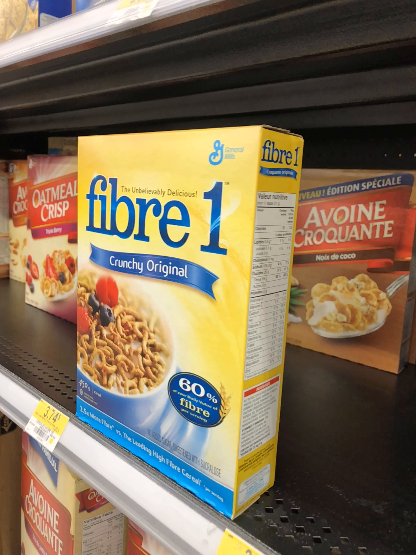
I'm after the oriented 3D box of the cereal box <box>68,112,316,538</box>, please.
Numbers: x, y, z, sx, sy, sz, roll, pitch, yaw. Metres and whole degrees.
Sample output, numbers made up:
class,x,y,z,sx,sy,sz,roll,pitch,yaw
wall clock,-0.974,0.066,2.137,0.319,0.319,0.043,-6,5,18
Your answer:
class,x,y,z,sx,sy,sz,roll,pitch,yaw
cereal box,-0.031,0.018,0.360,0.200,0.259,0.060,13,14,43
